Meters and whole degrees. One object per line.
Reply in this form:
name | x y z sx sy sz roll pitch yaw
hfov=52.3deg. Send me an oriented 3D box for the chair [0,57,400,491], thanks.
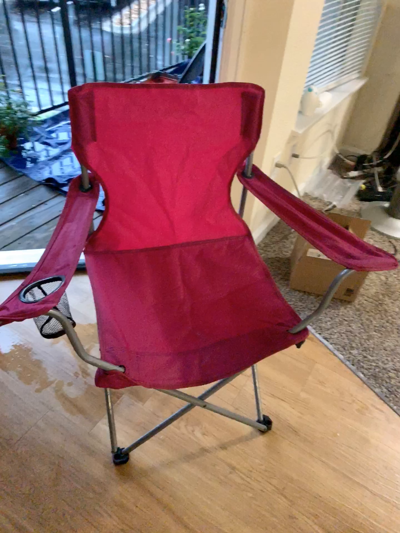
chair | -0.041 -0.003 1.028 0.650 0.776 0.673 -5 42 -12
